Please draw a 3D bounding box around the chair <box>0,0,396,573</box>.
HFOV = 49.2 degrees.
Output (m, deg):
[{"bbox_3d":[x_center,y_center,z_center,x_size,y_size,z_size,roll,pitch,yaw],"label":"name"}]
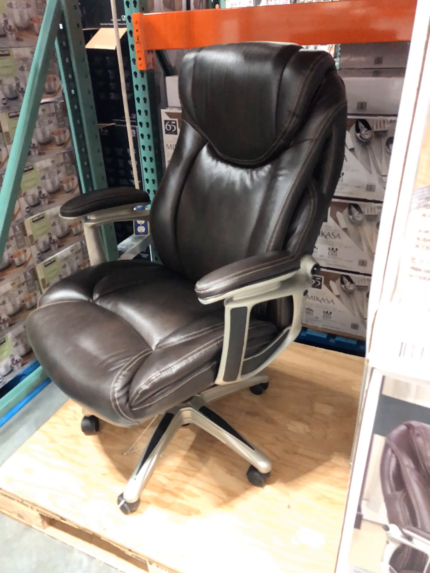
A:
[{"bbox_3d":[-0.091,-0.075,1.213,0.662,1.095,0.721,23,38,38],"label":"chair"}]
